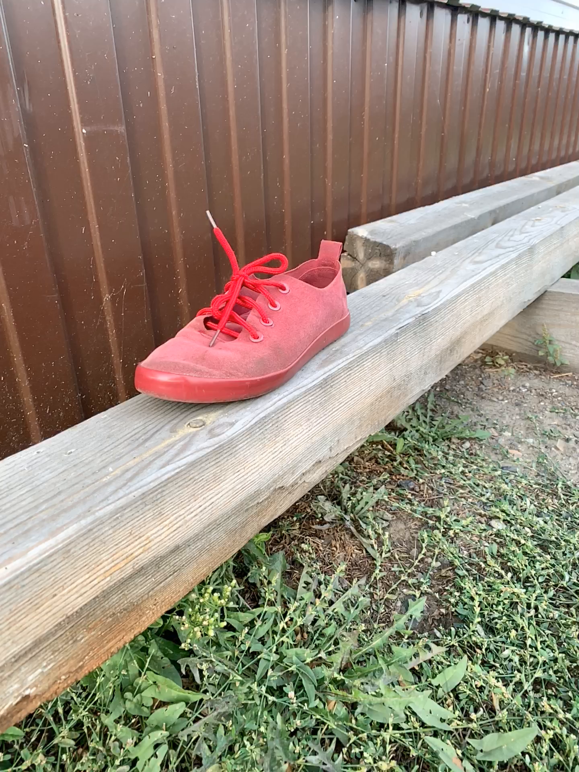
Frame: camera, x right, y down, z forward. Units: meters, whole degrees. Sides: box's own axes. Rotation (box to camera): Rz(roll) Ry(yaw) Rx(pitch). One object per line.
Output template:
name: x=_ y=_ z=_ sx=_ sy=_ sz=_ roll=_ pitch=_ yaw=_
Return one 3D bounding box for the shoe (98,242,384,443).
shoe: x=-0.019 y=-0.052 z=0.471 sx=0.100 sy=0.069 sz=0.241 roll=12 pitch=29 yaw=29
